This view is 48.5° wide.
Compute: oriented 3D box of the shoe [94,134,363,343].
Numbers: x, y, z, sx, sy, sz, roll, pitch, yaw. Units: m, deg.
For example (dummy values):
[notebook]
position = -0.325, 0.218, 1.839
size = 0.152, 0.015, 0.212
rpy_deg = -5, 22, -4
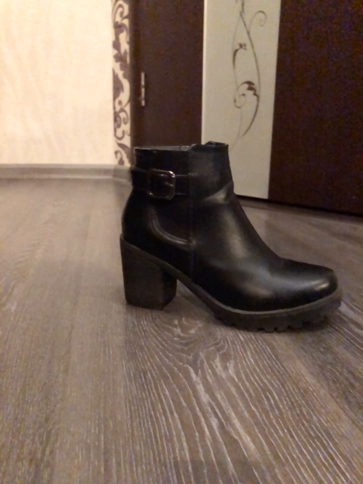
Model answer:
[shoe]
position = 0.046, -0.015, 0.411
size = 0.240, 0.179, 0.090
rpy_deg = 4, 15, 11
